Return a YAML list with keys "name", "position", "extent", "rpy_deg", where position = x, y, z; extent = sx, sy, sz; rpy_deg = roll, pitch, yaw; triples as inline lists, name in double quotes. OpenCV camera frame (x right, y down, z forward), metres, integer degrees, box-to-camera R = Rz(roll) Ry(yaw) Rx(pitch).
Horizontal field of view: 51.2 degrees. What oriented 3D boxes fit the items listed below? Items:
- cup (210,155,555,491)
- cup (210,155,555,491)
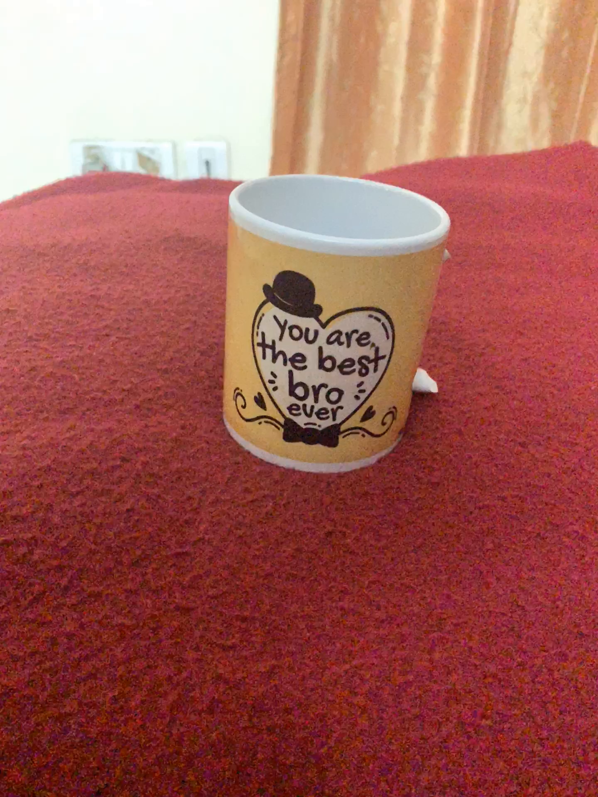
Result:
- name: "cup"
  position: [0.023, -0.033, 0.259]
  extent: [0.110, 0.109, 0.081]
  rpy_deg: [3, 29, -3]
- name: "cup"
  position: [0.023, -0.033, 0.259]
  extent: [0.110, 0.109, 0.081]
  rpy_deg: [3, 29, -3]
